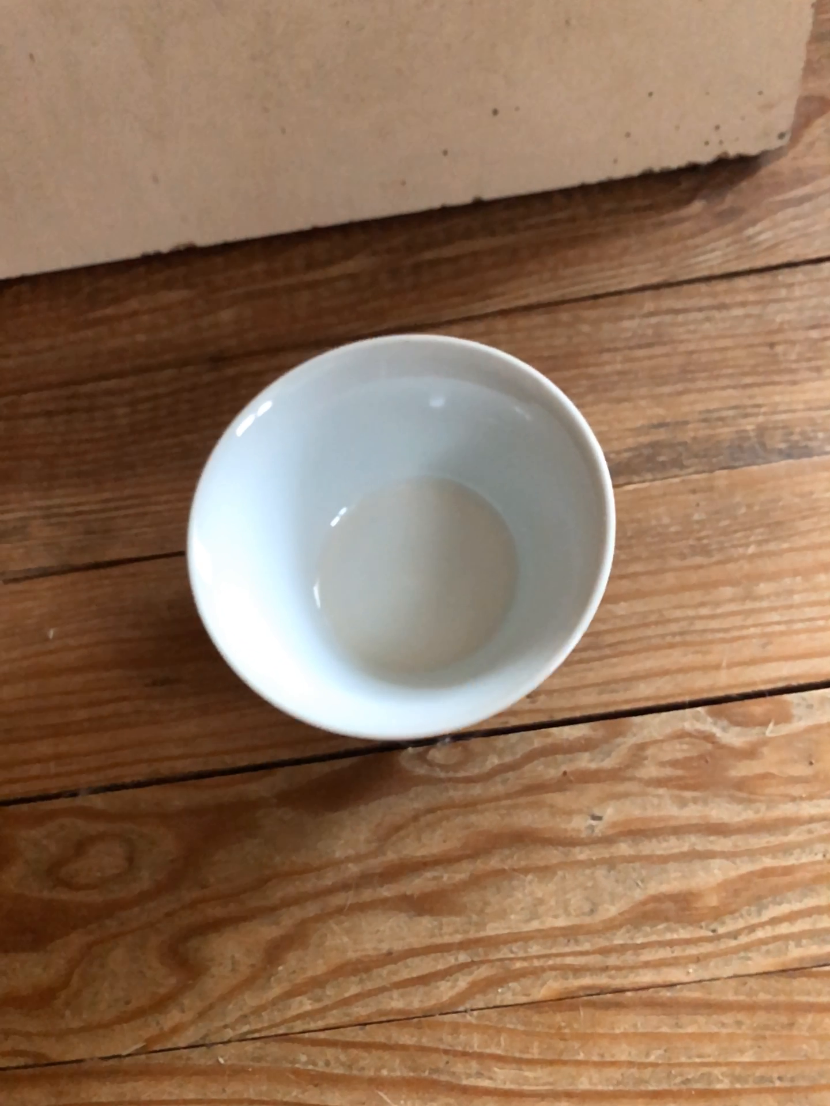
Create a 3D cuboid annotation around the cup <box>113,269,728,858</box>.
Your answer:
[{"bbox_3d":[0.002,0.000,0.243,0.110,0.040,0.100,-44,72,-11],"label":"cup"}]
